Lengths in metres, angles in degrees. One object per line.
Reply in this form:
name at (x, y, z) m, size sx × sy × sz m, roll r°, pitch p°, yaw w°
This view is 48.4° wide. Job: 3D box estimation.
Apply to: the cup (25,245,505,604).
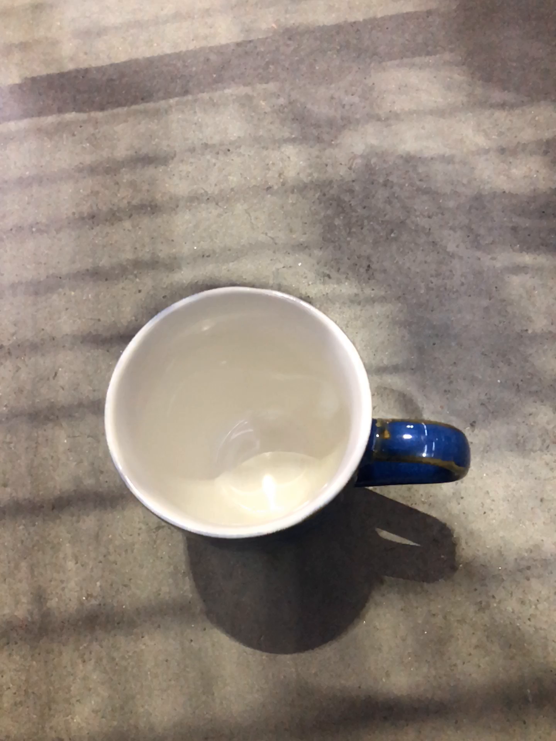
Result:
cup at (0.002, 0.019, 0.188) m, size 0.110 × 0.070 × 0.080 m, roll 6°, pitch 70°, yaw 8°
